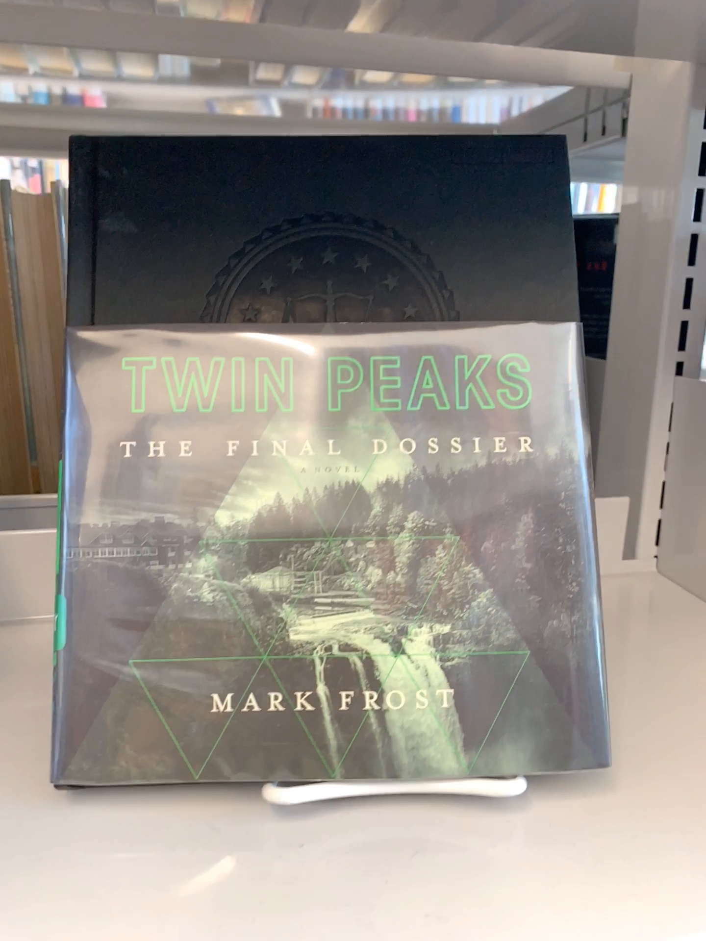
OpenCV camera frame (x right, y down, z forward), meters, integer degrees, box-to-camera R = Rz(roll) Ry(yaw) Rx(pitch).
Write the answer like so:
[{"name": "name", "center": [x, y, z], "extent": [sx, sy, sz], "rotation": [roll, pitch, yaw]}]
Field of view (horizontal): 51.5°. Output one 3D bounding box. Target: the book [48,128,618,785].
[{"name": "book", "center": [-0.007, -0.009, 0.265], "extent": [0.190, 0.227, 0.020], "rotation": [0, -5, -2]}]
